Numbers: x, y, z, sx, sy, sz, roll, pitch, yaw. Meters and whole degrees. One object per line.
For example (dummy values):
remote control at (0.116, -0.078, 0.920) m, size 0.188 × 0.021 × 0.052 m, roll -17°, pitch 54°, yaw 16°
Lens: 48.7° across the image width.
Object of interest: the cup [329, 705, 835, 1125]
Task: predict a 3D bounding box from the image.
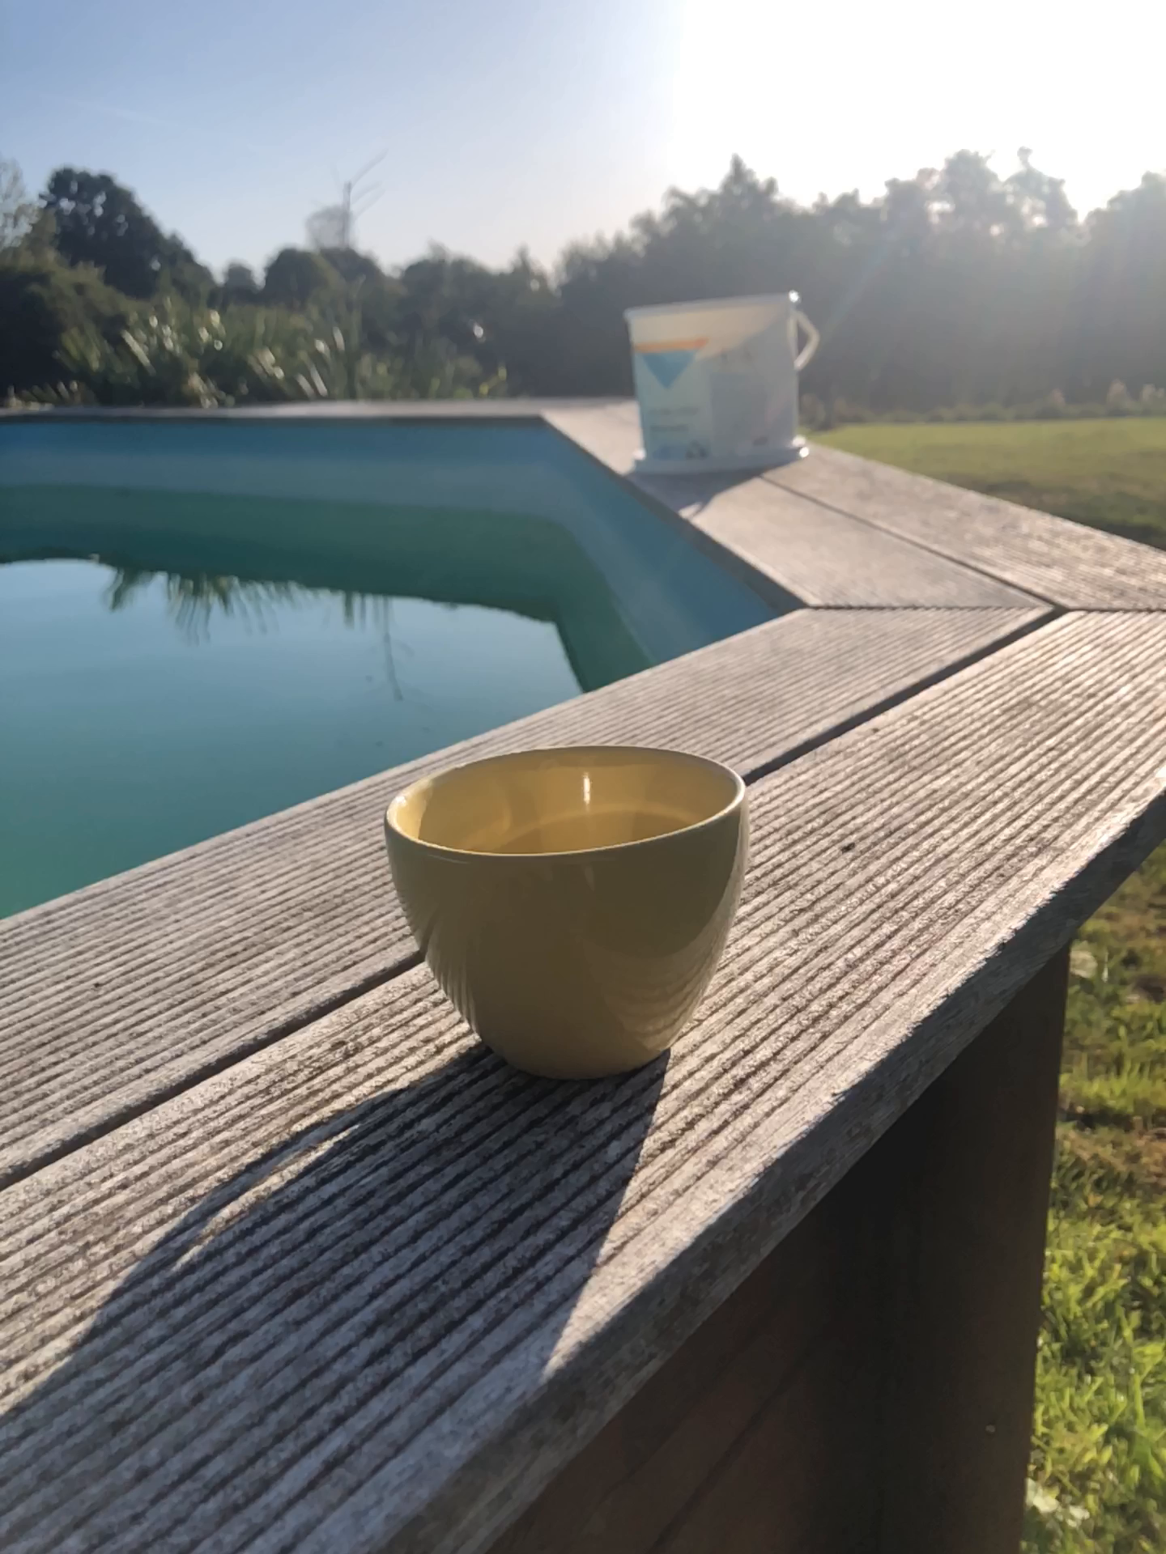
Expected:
cup at (-0.005, 0.026, 0.327) m, size 0.089 × 0.053 × 0.112 m, roll -10°, pitch 18°, yaw -21°
